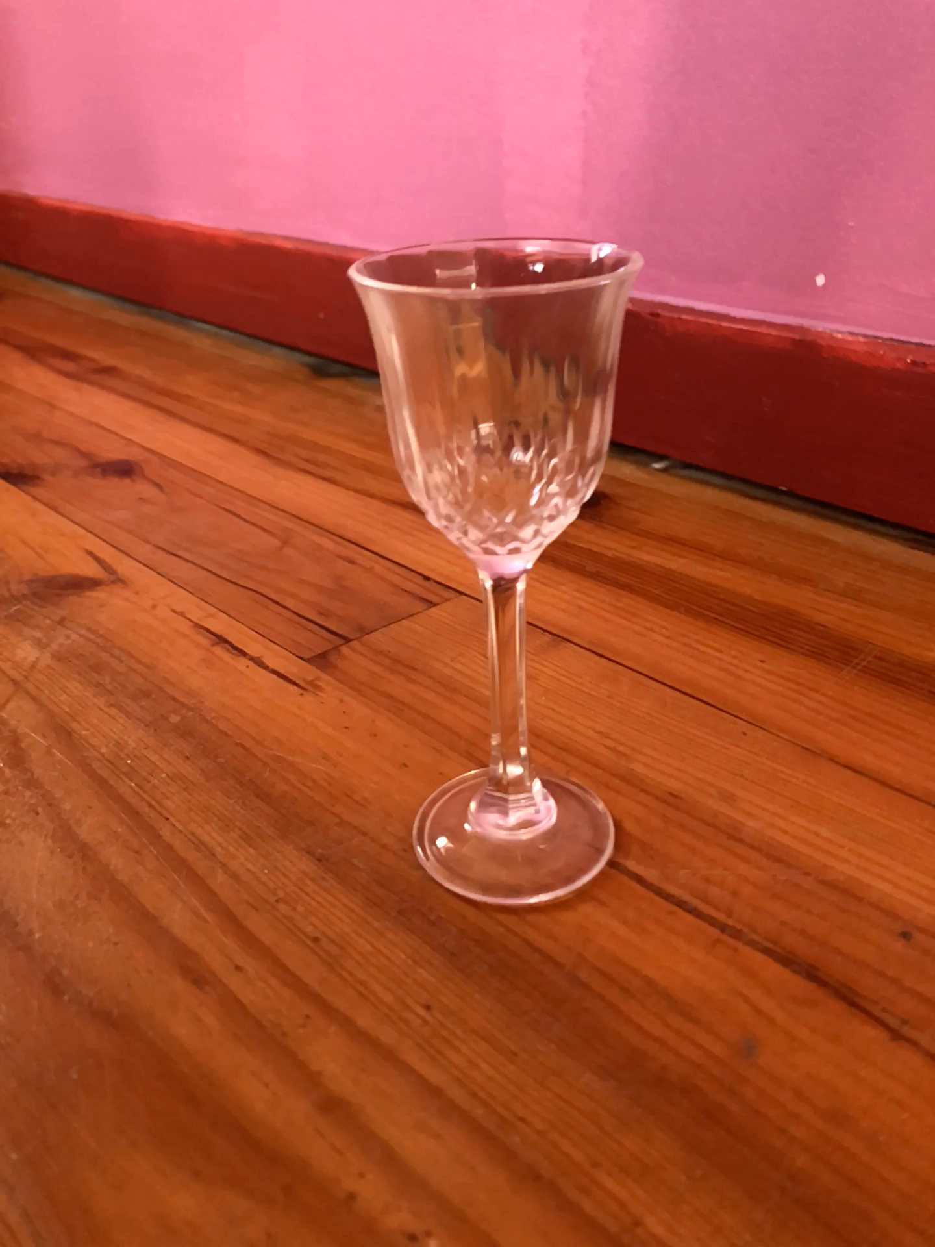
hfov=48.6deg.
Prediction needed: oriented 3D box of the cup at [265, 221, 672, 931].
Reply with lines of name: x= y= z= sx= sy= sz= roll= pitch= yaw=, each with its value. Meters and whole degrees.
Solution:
cup: x=0.006 y=-0.010 z=0.220 sx=0.060 sy=0.133 sz=0.059 roll=-1 pitch=28 yaw=1
